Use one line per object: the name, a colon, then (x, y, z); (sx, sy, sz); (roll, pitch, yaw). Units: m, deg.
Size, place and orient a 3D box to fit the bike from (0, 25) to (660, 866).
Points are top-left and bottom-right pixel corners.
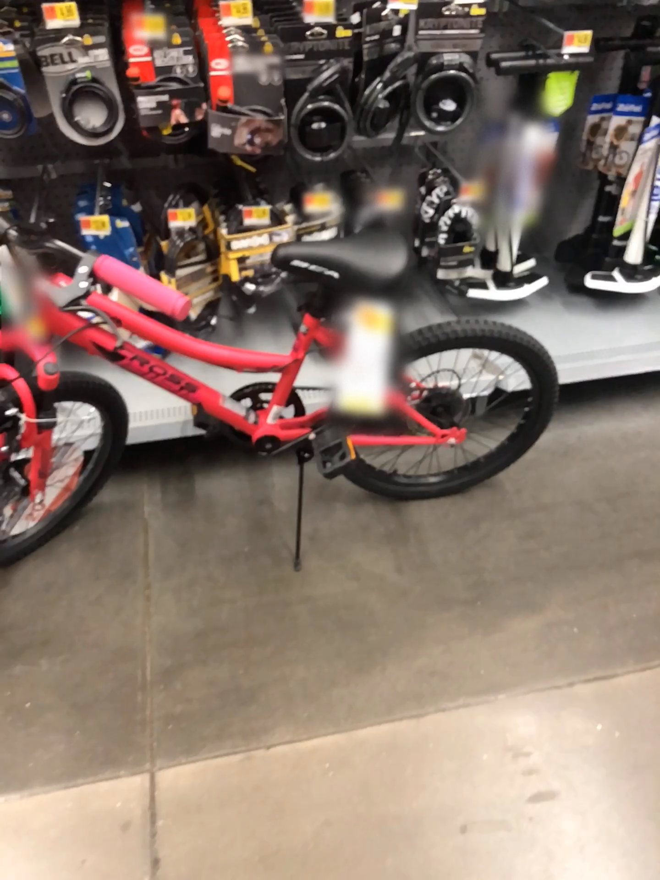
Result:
bike: (-0.122, -0.036, 1.142); (1.224, 0.877, 0.611); (-12, 41, -12)
